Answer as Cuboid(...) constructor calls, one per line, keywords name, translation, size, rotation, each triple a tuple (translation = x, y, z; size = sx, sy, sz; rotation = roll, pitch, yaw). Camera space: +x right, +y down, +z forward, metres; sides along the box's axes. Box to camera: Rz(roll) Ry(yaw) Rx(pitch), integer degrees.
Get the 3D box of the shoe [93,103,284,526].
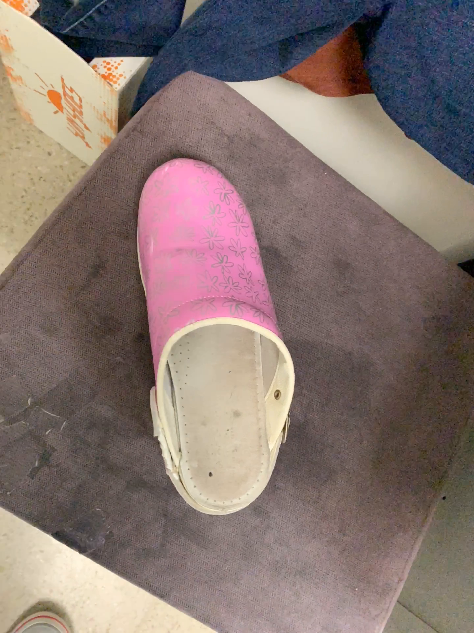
Cuboid(name="shoe", translation=(-0.038, -0.003, 0.315), size=(0.100, 0.080, 0.230), rotation=(-1, 83, -16))
